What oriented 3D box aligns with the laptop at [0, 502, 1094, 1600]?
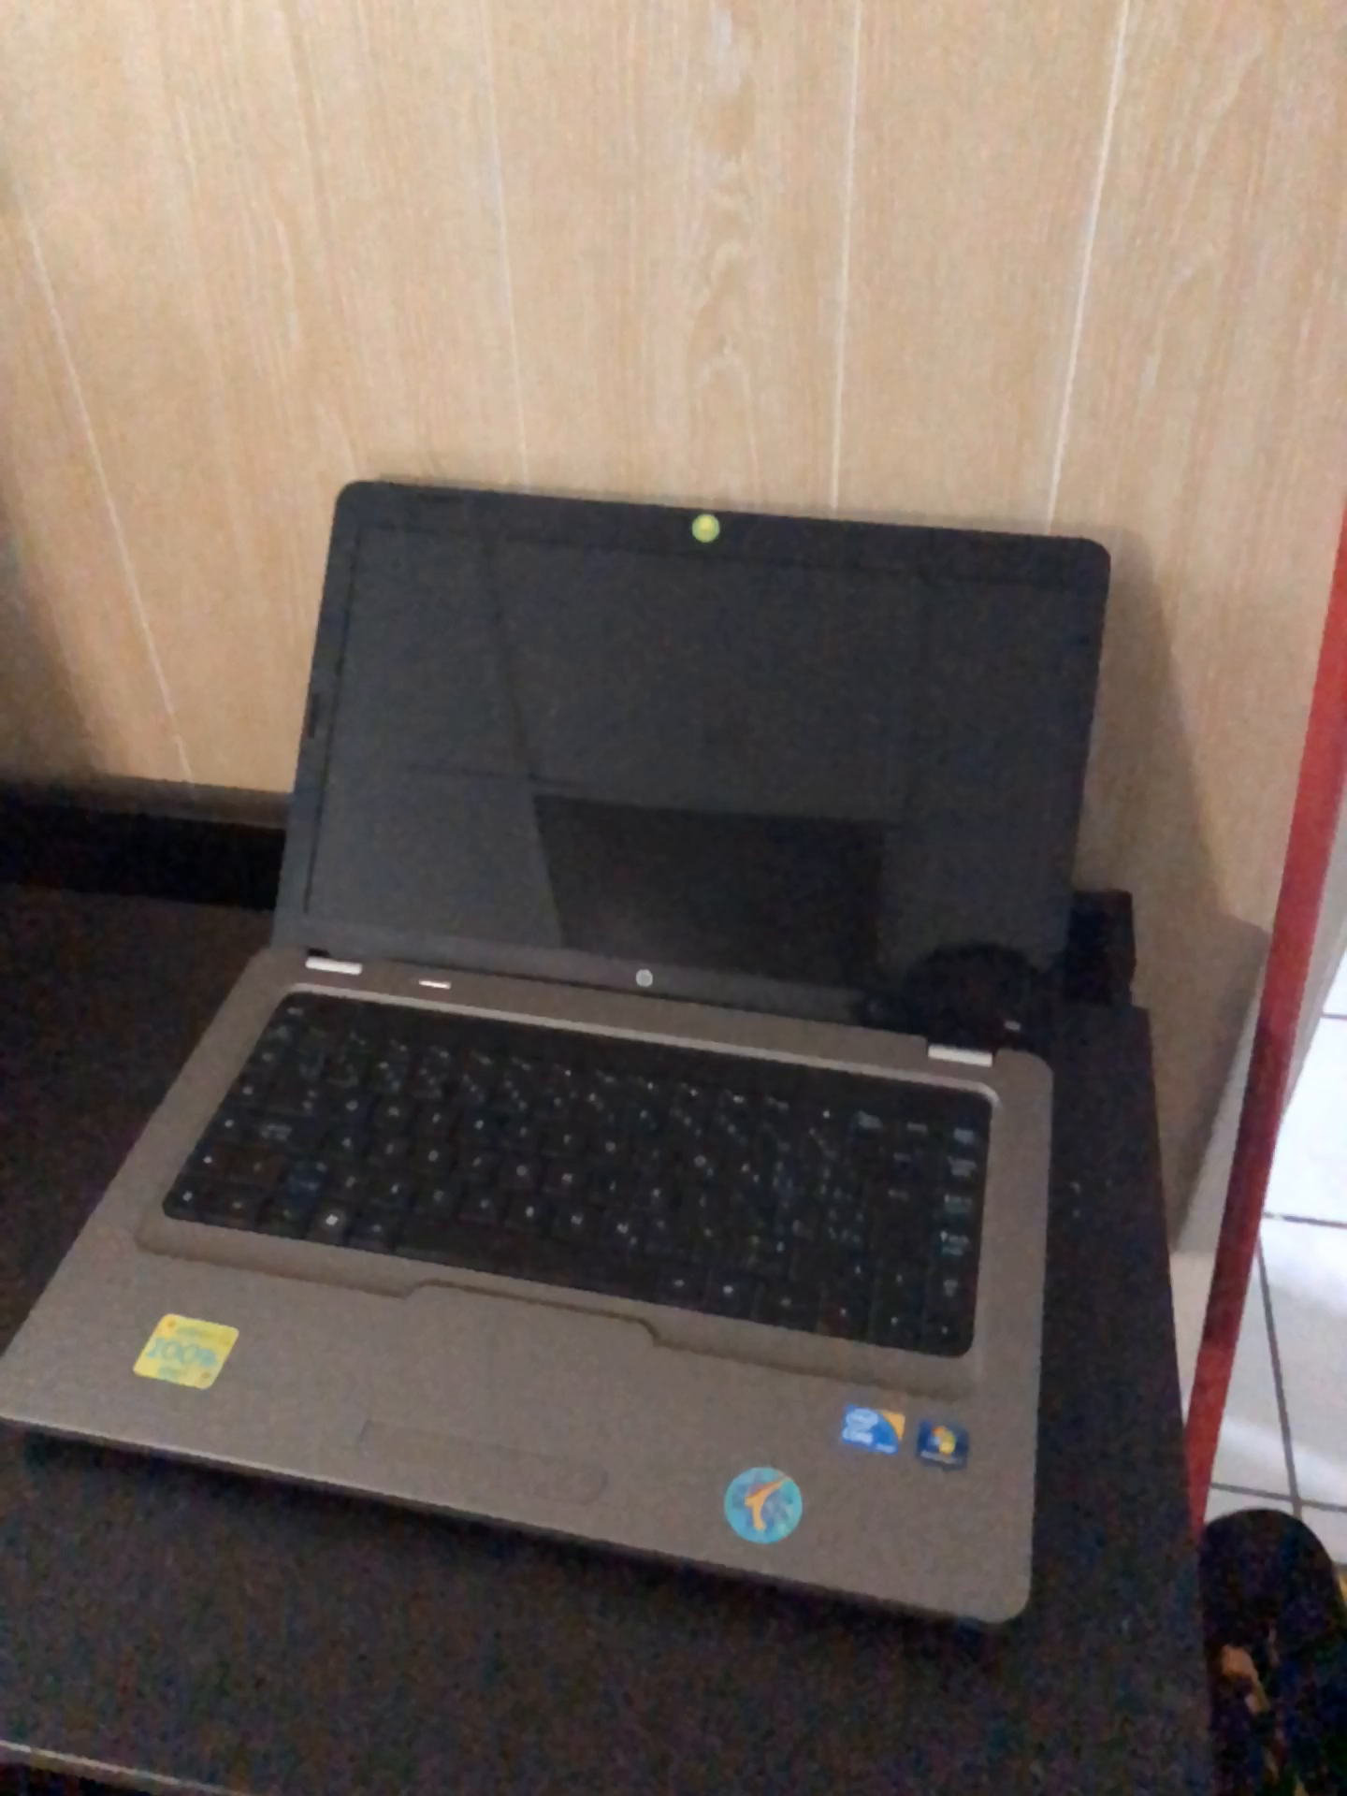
[{"bbox_3d":[-0.028,0.014,0.601,0.356,0.166,0.404,7,41,11],"label":"laptop"}]
